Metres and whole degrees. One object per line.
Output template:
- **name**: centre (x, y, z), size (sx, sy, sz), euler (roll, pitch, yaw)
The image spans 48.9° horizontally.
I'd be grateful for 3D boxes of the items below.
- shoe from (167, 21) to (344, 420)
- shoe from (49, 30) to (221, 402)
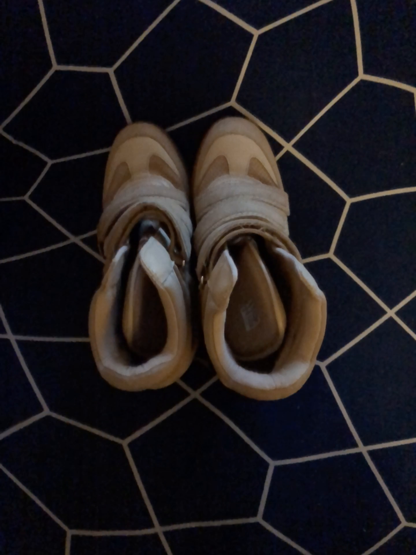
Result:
- **shoe**: centre (0.027, -0.038, 0.373), size (0.100, 0.130, 0.280), euler (-3, 77, 1)
- **shoe**: centre (-0.054, -0.039, 0.382), size (0.100, 0.140, 0.260), euler (-6, 77, 0)
